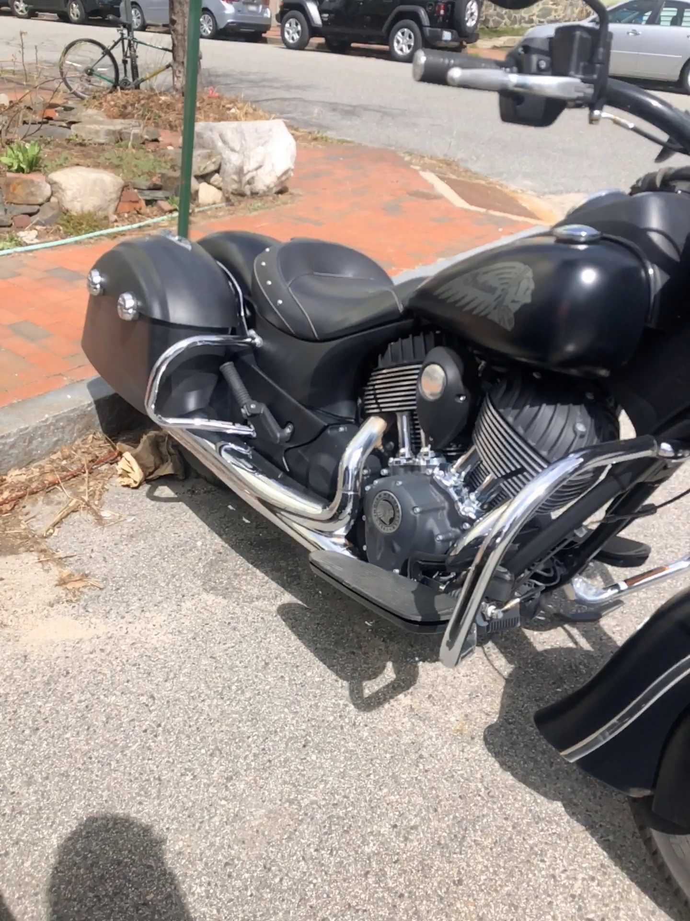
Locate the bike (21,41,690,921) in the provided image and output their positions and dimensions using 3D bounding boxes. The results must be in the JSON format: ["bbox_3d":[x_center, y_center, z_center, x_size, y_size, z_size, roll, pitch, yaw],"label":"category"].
[{"bbox_3d":[0.271,-0.098,1.447,0.783,1.237,2.132,-23,37,-34],"label":"bike"}]
